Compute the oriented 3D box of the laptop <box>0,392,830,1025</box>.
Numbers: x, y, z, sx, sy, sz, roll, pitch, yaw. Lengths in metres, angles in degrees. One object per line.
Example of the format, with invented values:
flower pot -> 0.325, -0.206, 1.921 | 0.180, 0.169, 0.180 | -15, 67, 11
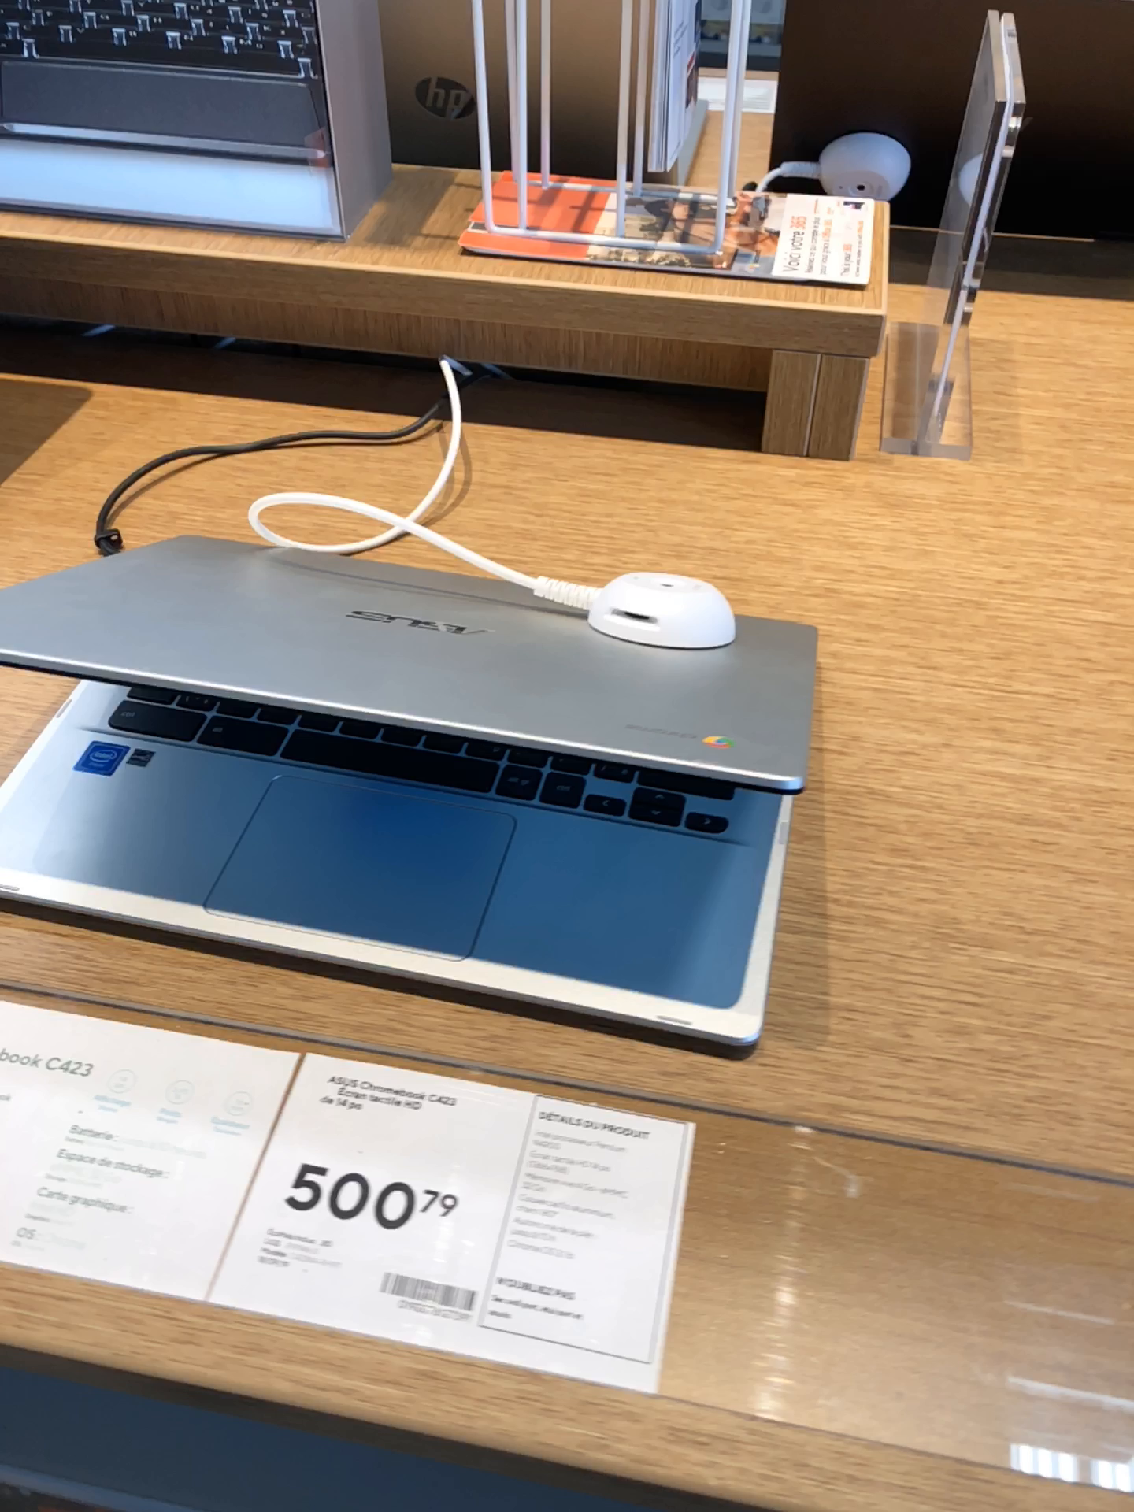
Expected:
laptop -> -0.063, -0.034, 0.497 | 0.304, 0.080, 0.206 | 10, 48, 8
